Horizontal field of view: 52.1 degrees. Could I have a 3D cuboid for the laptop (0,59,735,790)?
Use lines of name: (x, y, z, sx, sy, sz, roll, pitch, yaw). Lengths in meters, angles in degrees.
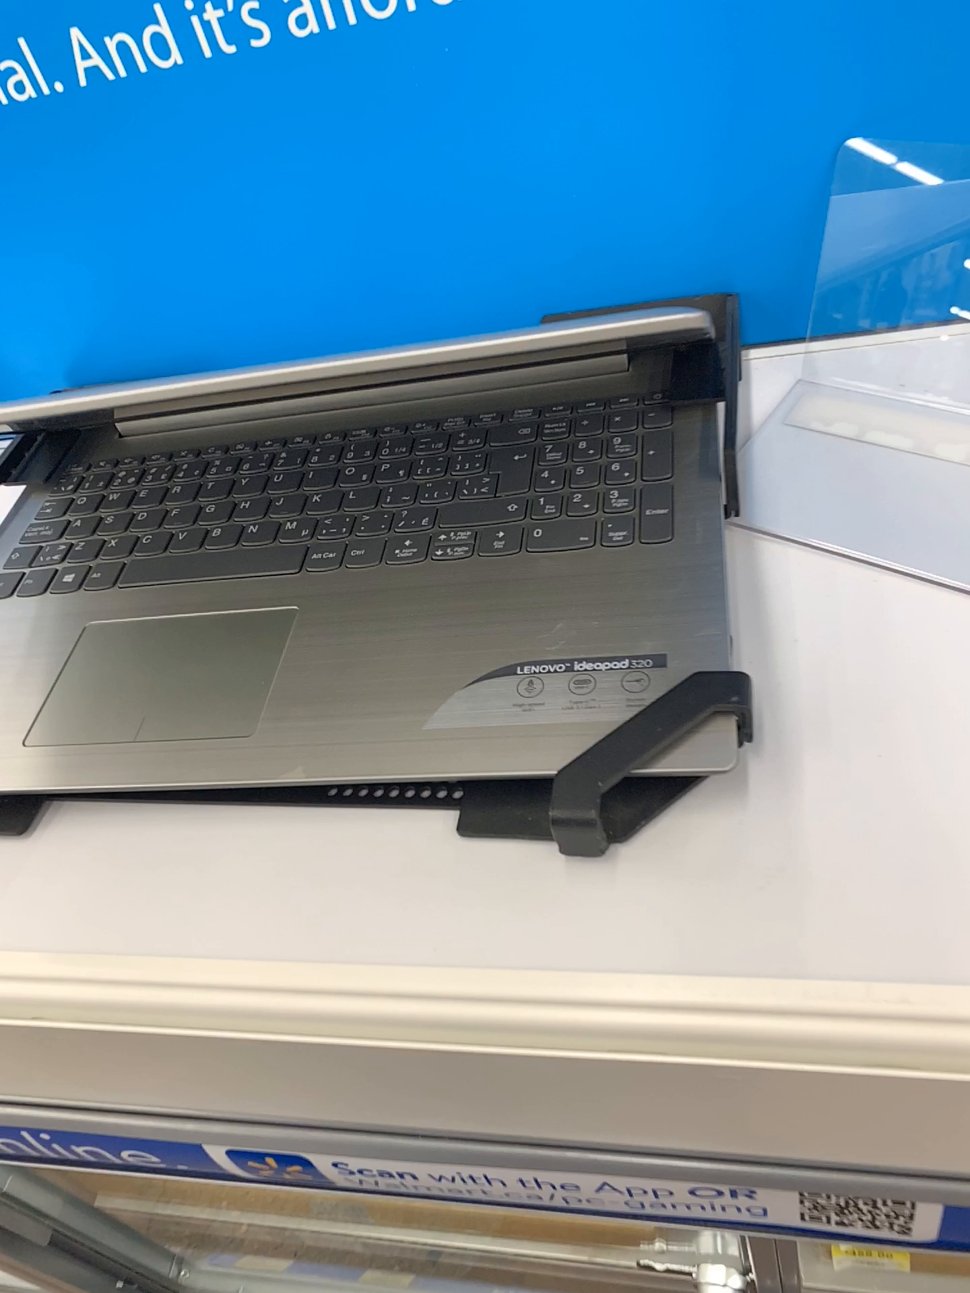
laptop: (-0.087, -0.077, 0.356, 0.324, 0.110, 0.220, -4, 48, 14)
